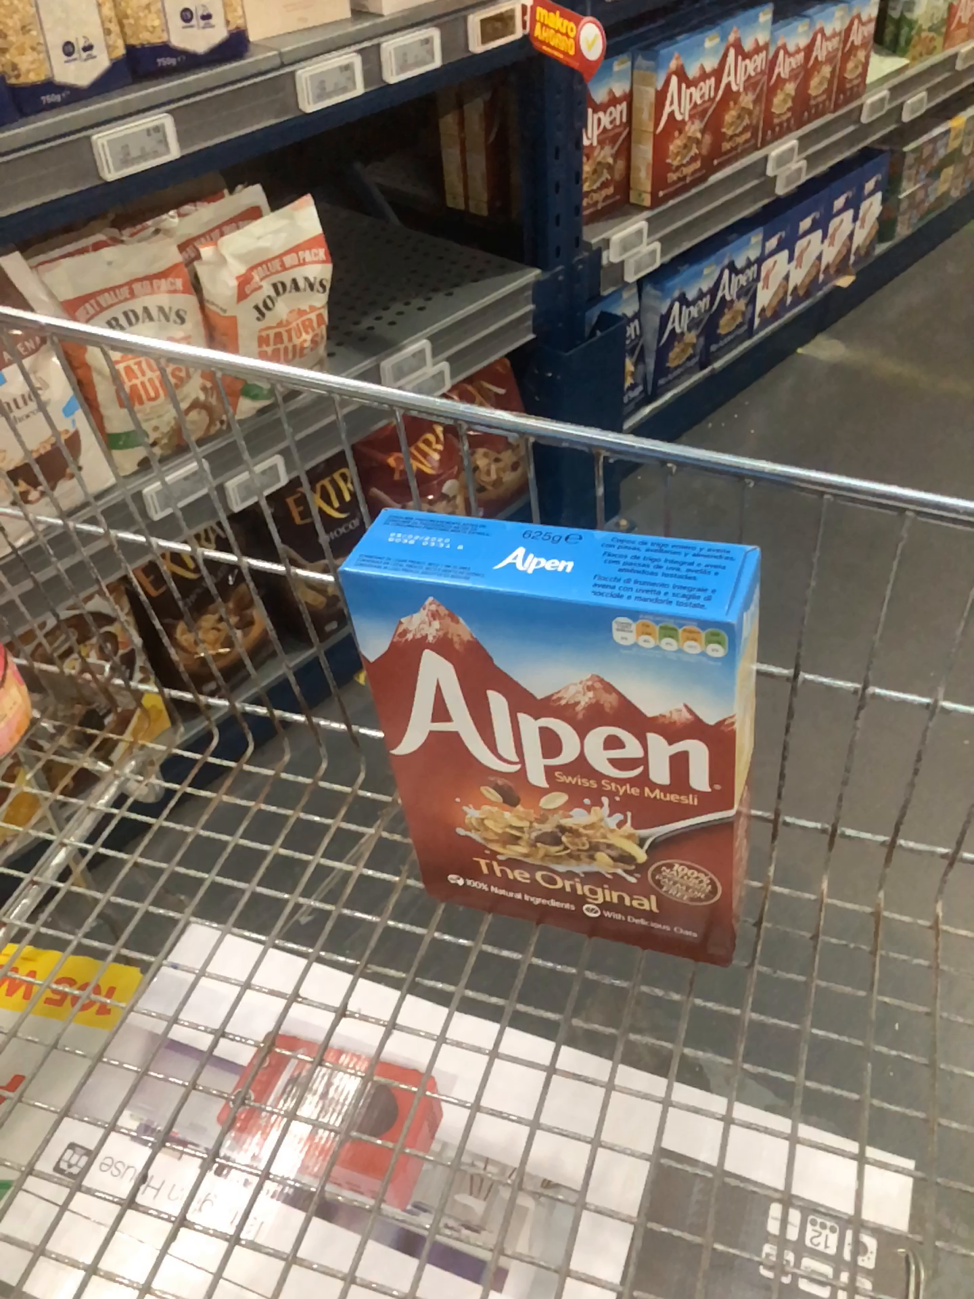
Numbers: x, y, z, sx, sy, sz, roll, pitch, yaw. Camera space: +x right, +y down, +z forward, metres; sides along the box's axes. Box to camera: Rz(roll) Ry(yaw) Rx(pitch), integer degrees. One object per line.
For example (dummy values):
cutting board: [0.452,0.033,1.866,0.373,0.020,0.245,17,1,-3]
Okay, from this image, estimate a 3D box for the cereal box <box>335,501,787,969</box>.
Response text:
cereal box: [0.041,0.046,0.523,0.180,0.219,0.060,9,43,19]
